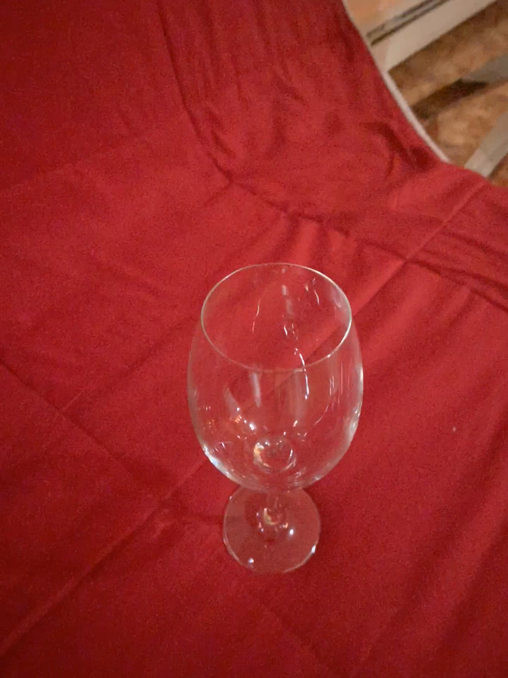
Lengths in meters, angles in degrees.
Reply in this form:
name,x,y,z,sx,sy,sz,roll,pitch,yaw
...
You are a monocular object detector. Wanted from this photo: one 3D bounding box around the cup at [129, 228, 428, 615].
name,x,y,z,sx,sy,sz,roll,pitch,yaw
cup,0.009,0.071,0.315,0.083,0.246,0.094,36,59,24
